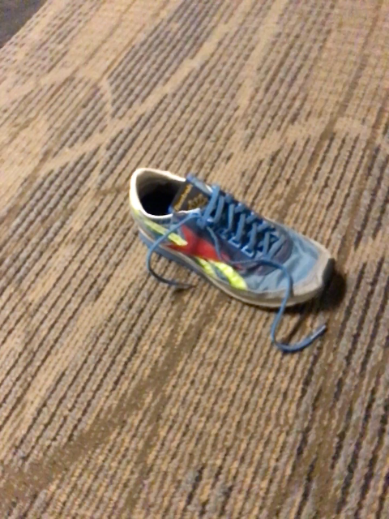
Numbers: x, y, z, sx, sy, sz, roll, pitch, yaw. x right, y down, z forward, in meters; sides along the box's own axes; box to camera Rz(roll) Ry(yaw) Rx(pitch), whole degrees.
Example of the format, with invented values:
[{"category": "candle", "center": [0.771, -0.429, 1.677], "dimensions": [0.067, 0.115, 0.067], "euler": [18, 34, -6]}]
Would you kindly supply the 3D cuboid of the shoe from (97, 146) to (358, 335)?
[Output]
[{"category": "shoe", "center": [0.034, -0.028, 0.493], "dimensions": [0.259, 0.095, 0.101], "euler": [23, 66, 22]}]
